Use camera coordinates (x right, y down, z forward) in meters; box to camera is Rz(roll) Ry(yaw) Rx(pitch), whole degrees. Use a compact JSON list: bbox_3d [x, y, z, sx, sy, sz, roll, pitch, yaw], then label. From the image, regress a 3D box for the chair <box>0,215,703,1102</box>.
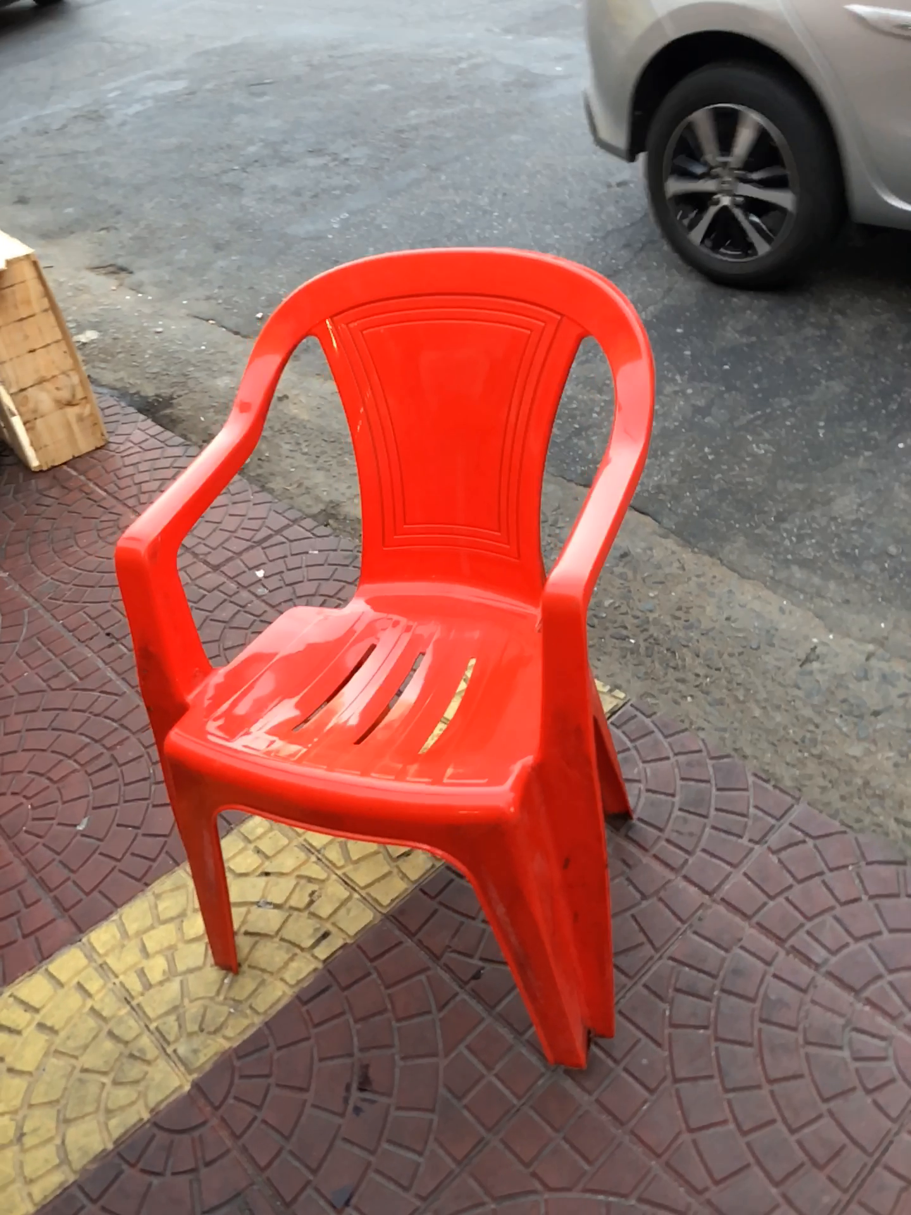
[{"bbox_3d":[-0.061,0.044,1.162,0.571,0.794,0.543,8,42,20],"label":"chair"}]
